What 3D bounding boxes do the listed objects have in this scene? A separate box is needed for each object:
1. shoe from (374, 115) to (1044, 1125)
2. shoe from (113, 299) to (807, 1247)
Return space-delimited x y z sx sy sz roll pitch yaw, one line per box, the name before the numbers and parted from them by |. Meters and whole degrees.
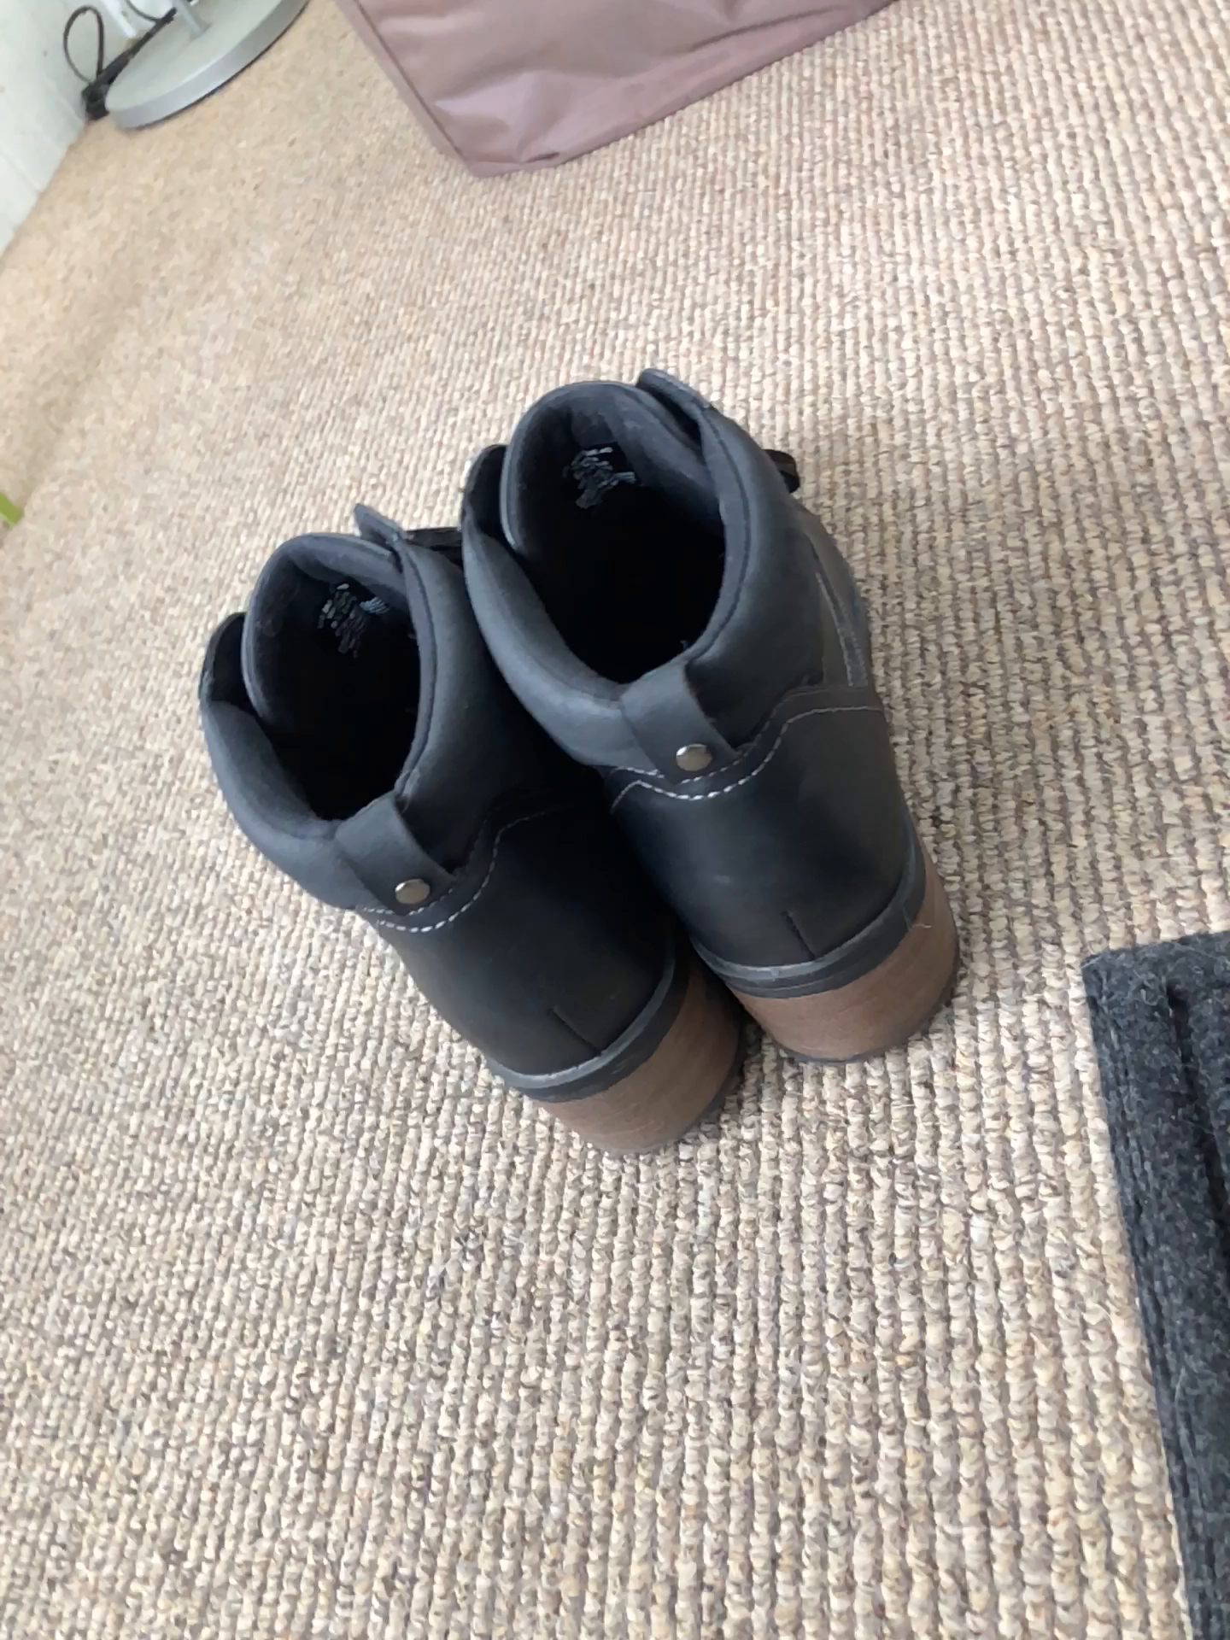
shoe | 0.017 -0.074 0.424 0.094 0.162 0.274 -26 44 13
shoe | -0.063 -0.028 0.445 0.097 0.165 0.268 -33 43 6
